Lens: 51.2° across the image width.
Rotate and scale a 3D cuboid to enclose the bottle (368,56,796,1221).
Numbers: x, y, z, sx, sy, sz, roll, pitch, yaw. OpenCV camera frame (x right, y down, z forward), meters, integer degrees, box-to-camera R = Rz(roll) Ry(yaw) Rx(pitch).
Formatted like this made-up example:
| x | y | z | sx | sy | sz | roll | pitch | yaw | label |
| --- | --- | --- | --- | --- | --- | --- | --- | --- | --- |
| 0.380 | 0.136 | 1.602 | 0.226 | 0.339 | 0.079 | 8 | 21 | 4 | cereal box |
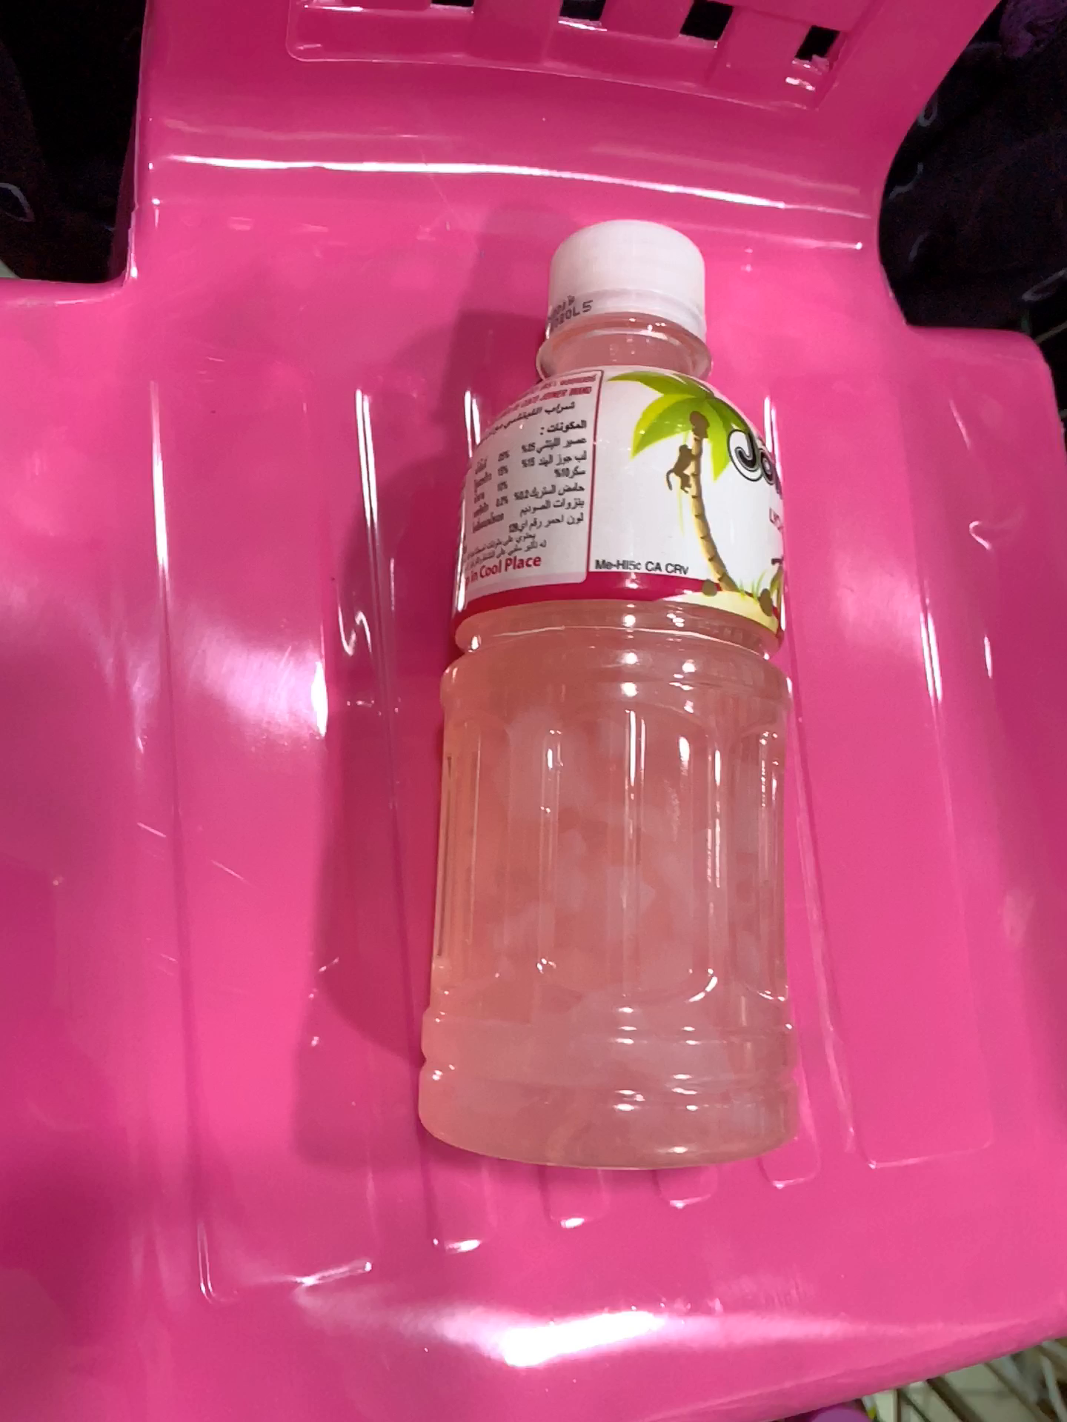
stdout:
| x | y | z | sx | sy | sz | roll | pitch | yaw | label |
| --- | --- | --- | --- | --- | --- | --- | --- | --- | --- |
| 0.014 | -0.012 | 0.196 | 0.060 | 0.060 | 0.170 | -1 | 82 | 14 | bottle |
